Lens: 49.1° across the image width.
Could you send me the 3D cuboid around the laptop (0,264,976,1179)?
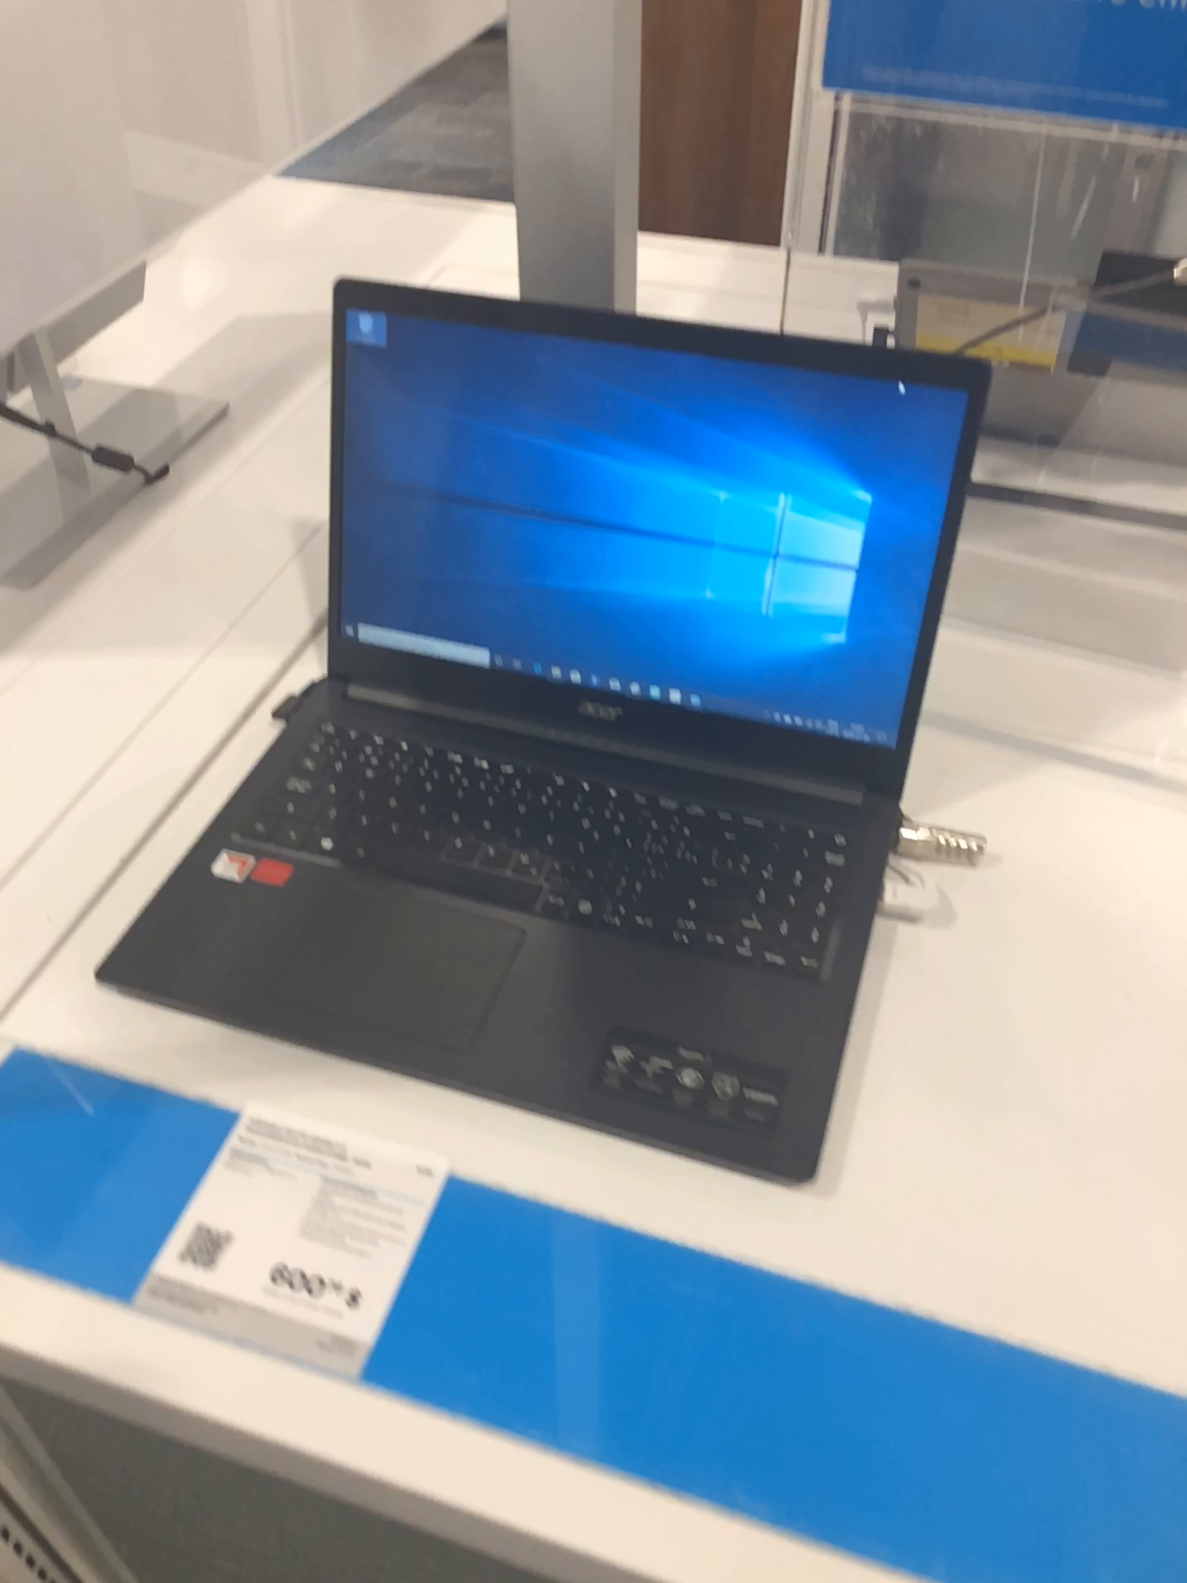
[{"bbox_3d":[-0.030,-0.067,0.669,0.367,0.212,0.351,13,47,14],"label":"laptop"}]
